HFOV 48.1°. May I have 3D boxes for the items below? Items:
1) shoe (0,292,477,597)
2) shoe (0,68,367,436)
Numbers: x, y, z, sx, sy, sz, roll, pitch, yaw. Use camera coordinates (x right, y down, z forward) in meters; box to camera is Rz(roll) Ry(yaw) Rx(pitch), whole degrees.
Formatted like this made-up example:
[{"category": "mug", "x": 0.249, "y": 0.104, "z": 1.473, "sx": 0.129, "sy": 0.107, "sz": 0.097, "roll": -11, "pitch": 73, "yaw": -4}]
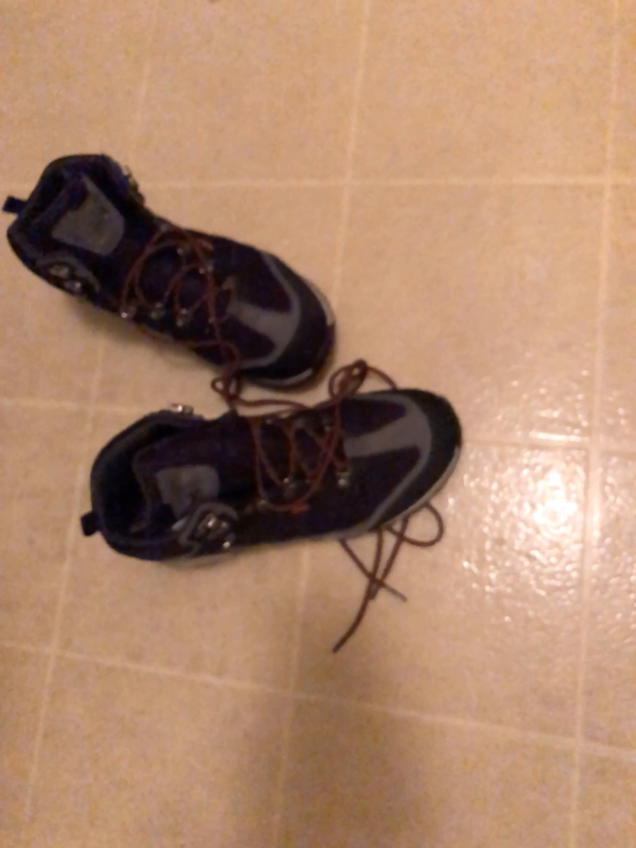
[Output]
[{"category": "shoe", "x": -0.048, "y": 0.032, "z": 0.530, "sx": 0.299, "sy": 0.196, "sz": 0.116, "roll": -15, "pitch": 77, "yaw": 11}, {"category": "shoe", "x": -0.141, "y": -0.128, "z": 0.582, "sx": 0.309, "sy": 0.196, "sz": 0.126, "roll": 27, "pitch": 88, "yaw": 17}]
